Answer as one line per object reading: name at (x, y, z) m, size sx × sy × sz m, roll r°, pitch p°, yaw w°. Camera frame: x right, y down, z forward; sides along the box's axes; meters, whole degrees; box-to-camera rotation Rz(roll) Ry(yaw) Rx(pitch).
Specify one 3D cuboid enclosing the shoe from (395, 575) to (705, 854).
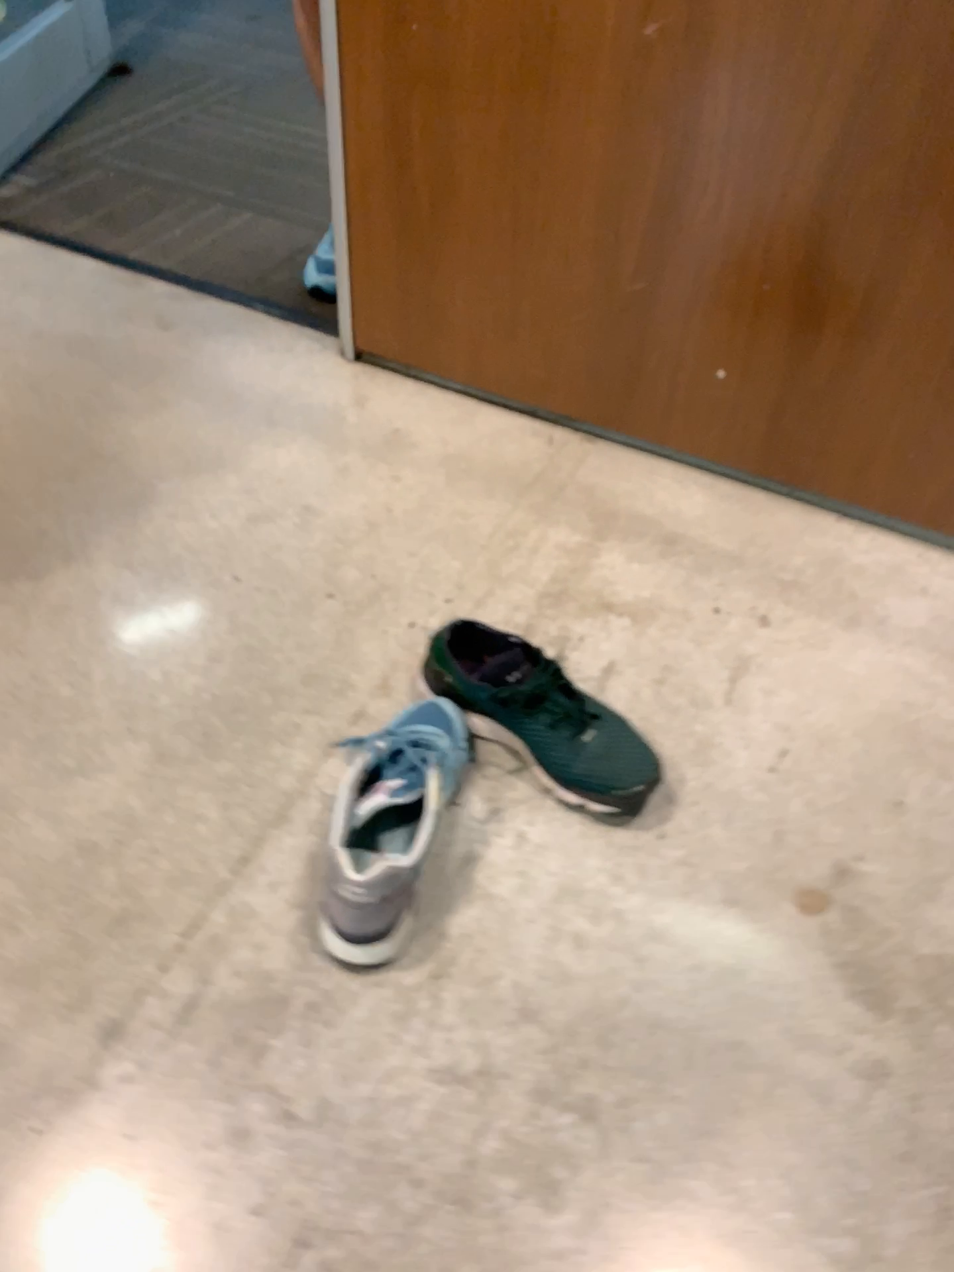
shoe at (0.071, 0.076, 1.095) m, size 0.321 × 0.090 × 0.140 m, roll 35°, pitch 54°, yaw 27°

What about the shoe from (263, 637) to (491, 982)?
shoe at (-0.086, 0.156, 0.971) m, size 0.130 × 0.090 × 0.322 m, roll 11°, pitch 46°, yaw 7°
